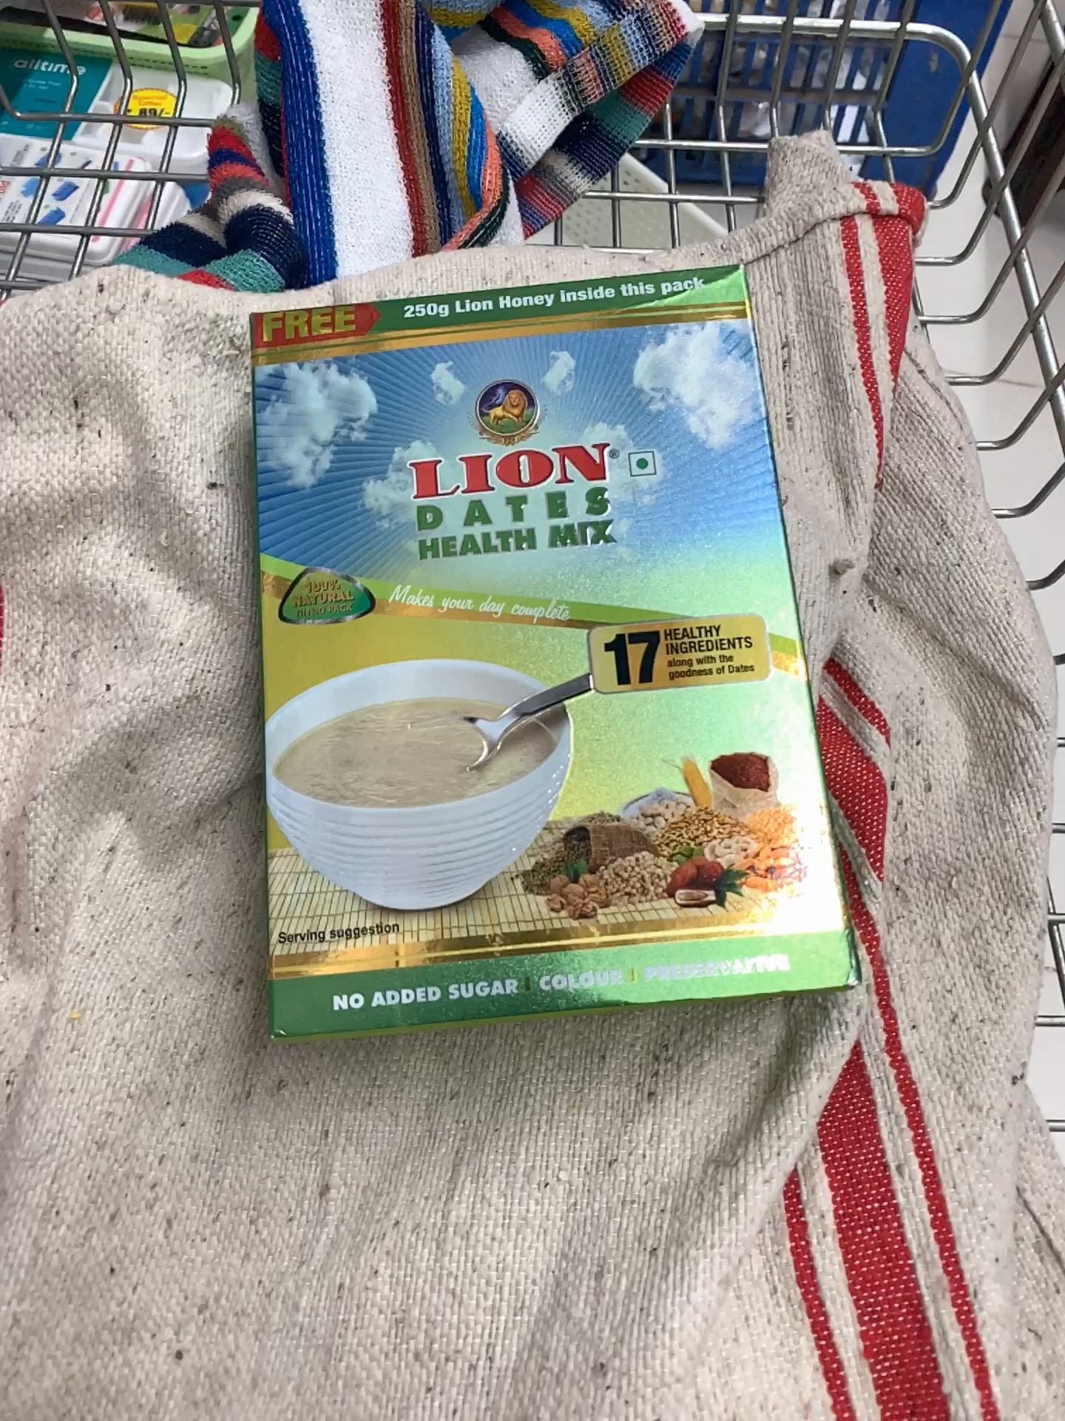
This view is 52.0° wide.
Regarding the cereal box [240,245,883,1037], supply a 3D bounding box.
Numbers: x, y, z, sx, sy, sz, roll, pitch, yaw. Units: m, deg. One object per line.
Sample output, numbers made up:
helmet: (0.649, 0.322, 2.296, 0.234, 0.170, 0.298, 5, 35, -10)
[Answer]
cereal box: (0.001, -0.014, 0.310, 0.140, 0.090, 0.190, -5, 75, 1)
